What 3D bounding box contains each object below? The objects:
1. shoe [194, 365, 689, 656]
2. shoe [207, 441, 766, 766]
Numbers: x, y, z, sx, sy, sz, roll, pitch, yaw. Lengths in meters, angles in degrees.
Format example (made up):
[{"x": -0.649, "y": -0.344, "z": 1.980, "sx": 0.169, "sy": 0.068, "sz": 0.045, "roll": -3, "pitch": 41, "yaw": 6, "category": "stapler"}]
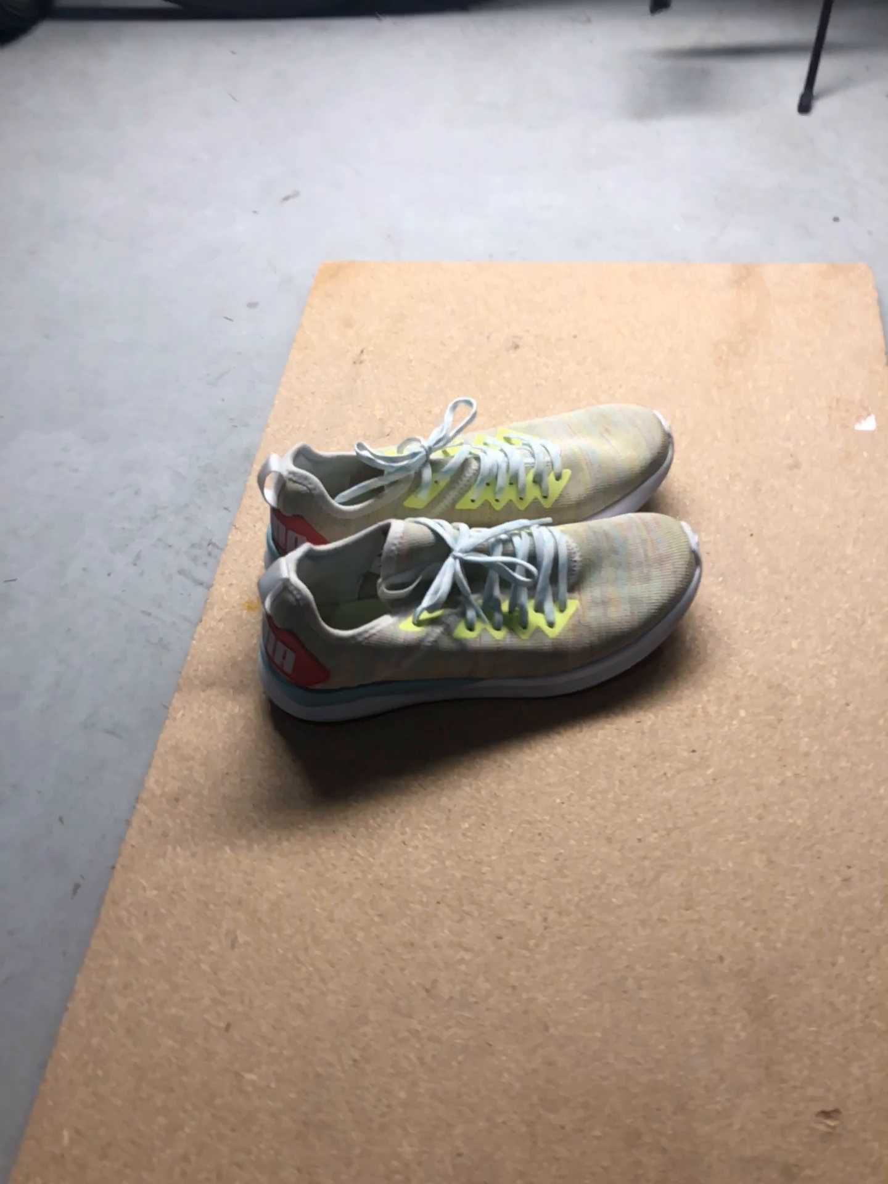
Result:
[{"x": -0.004, "y": -0.059, "z": 0.661, "sx": 0.300, "sy": 0.100, "sz": 0.110, "roll": -11, "pitch": 47, "yaw": -9, "category": "shoe"}, {"x": 0.022, "y": 0.003, "z": 0.587, "sx": 0.300, "sy": 0.100, "sz": 0.100, "roll": -11, "pitch": 47, "yaw": -9, "category": "shoe"}]
